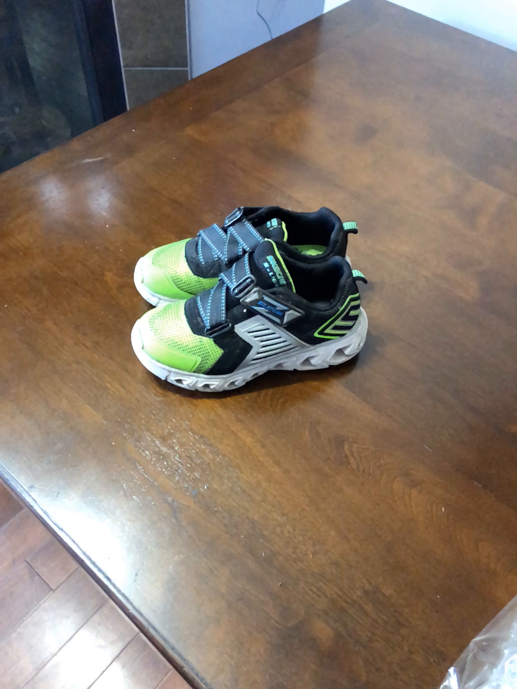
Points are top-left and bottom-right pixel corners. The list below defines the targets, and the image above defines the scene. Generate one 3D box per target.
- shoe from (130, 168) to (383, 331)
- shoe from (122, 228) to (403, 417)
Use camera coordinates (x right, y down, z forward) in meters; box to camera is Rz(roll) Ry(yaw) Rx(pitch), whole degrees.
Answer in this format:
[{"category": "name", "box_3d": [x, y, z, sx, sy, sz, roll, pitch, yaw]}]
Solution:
[{"category": "shoe", "box_3d": [-0.009, -0.090, 0.540, 0.210, 0.100, 0.100, -4, 54, -7]}, {"category": "shoe", "box_3d": [-0.002, -0.020, 0.500, 0.210, 0.100, 0.100, -7, 54, -10]}]
